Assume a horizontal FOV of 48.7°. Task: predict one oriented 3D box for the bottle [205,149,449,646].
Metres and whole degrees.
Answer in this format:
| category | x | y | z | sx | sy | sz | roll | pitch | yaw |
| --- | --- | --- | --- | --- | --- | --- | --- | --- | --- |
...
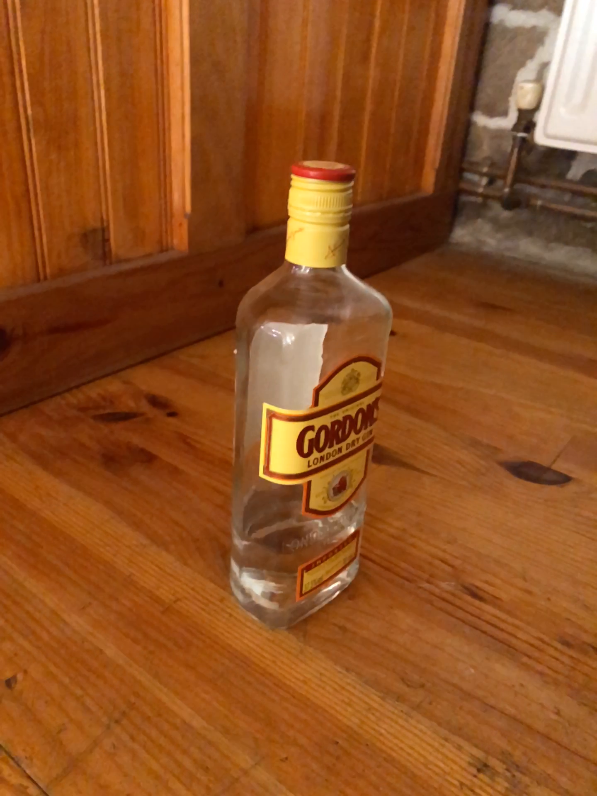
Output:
| category | x | y | z | sx | sy | sz | roll | pitch | yaw |
| --- | --- | --- | --- | --- | --- | --- | --- | --- | --- |
| bottle | 0.007 | 0.003 | 0.344 | 0.091 | 0.239 | 0.060 | -22 | 38 | -40 |
